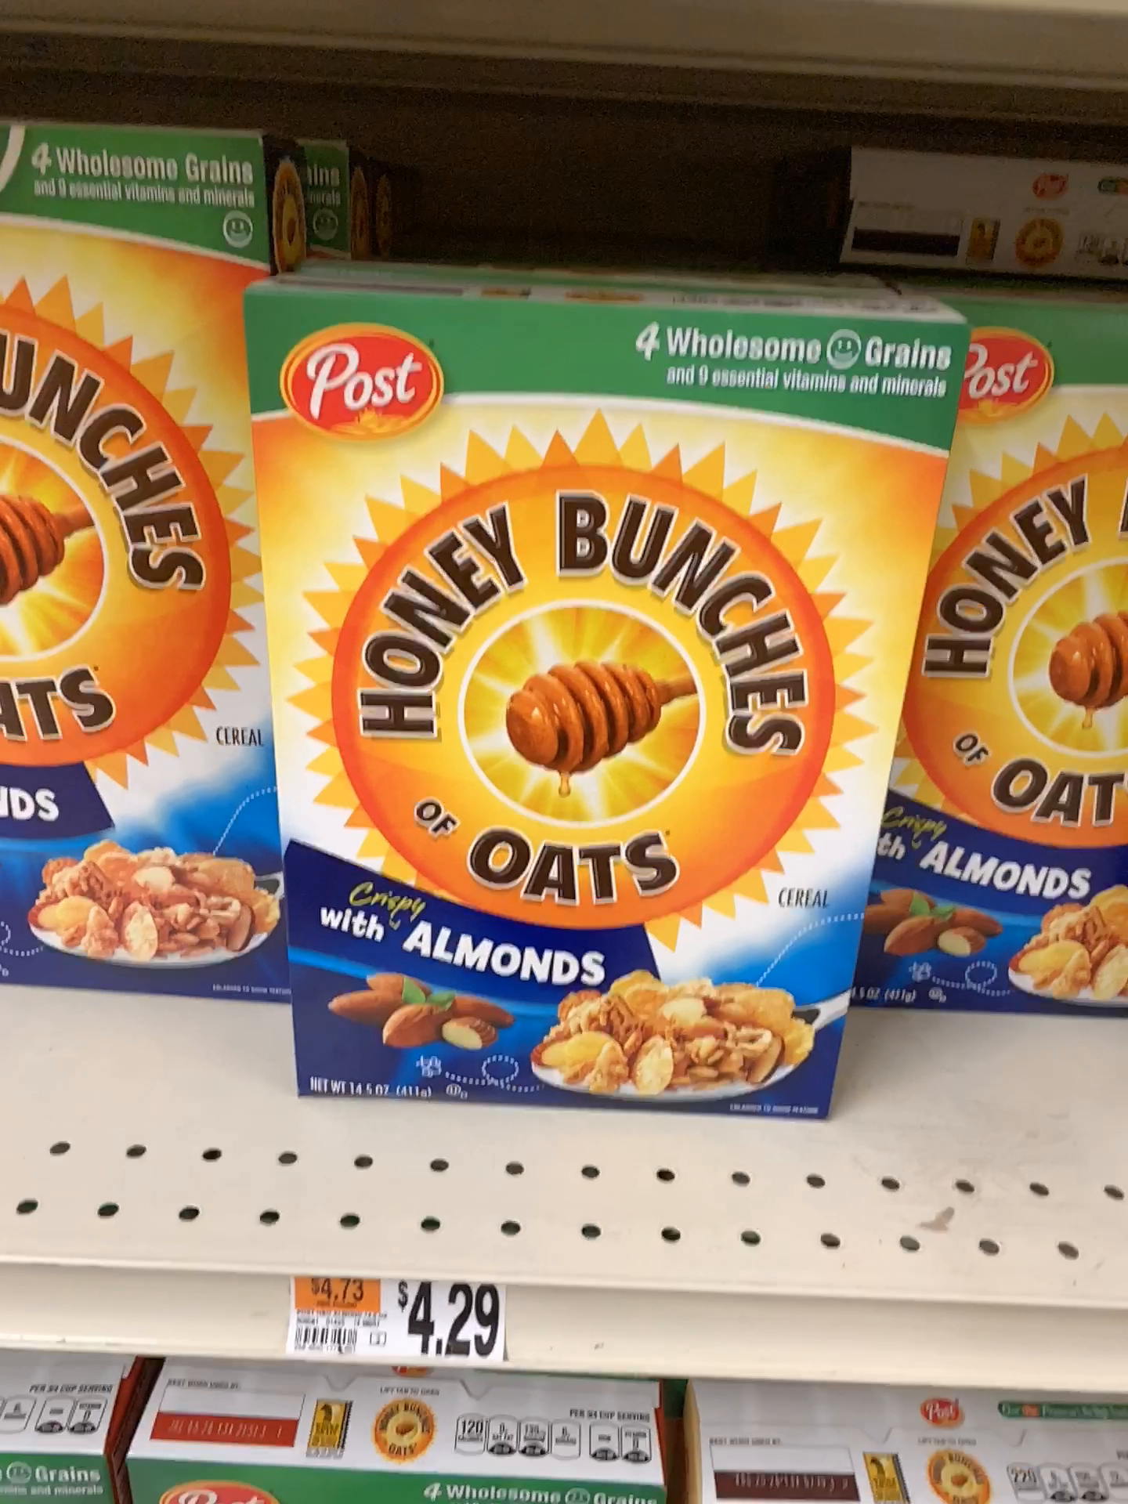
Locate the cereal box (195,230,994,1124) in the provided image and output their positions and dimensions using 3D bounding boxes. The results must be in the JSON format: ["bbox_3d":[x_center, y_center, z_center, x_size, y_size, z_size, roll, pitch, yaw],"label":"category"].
[{"bbox_3d":[0.002,-0.012,0.378,0.200,0.278,0.060,3,26,0],"label":"cereal box"}]
